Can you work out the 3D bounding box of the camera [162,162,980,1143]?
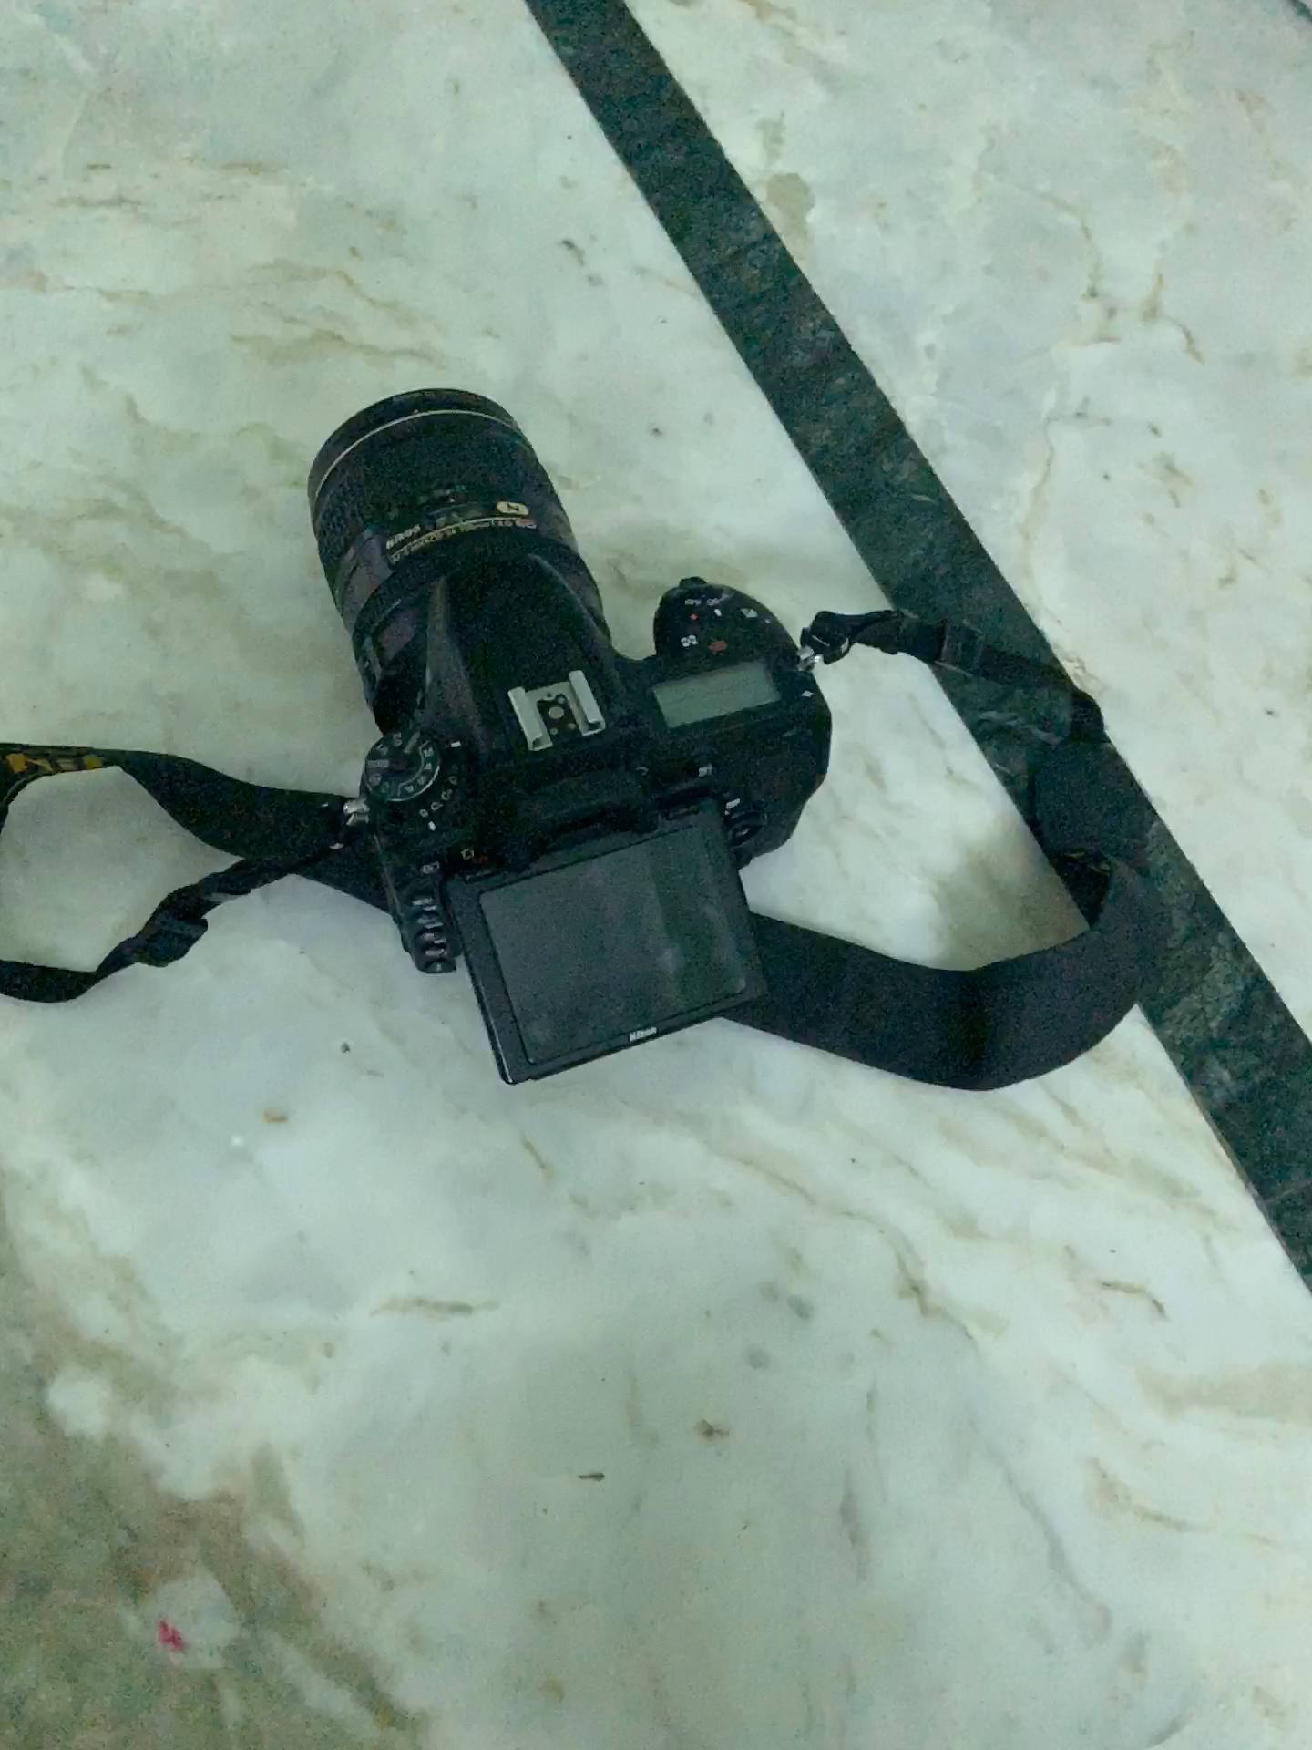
[{"bbox_3d":[-0.037,-0.075,0.410,0.146,0.100,0.258,-17,66,-11],"label":"camera"}]
